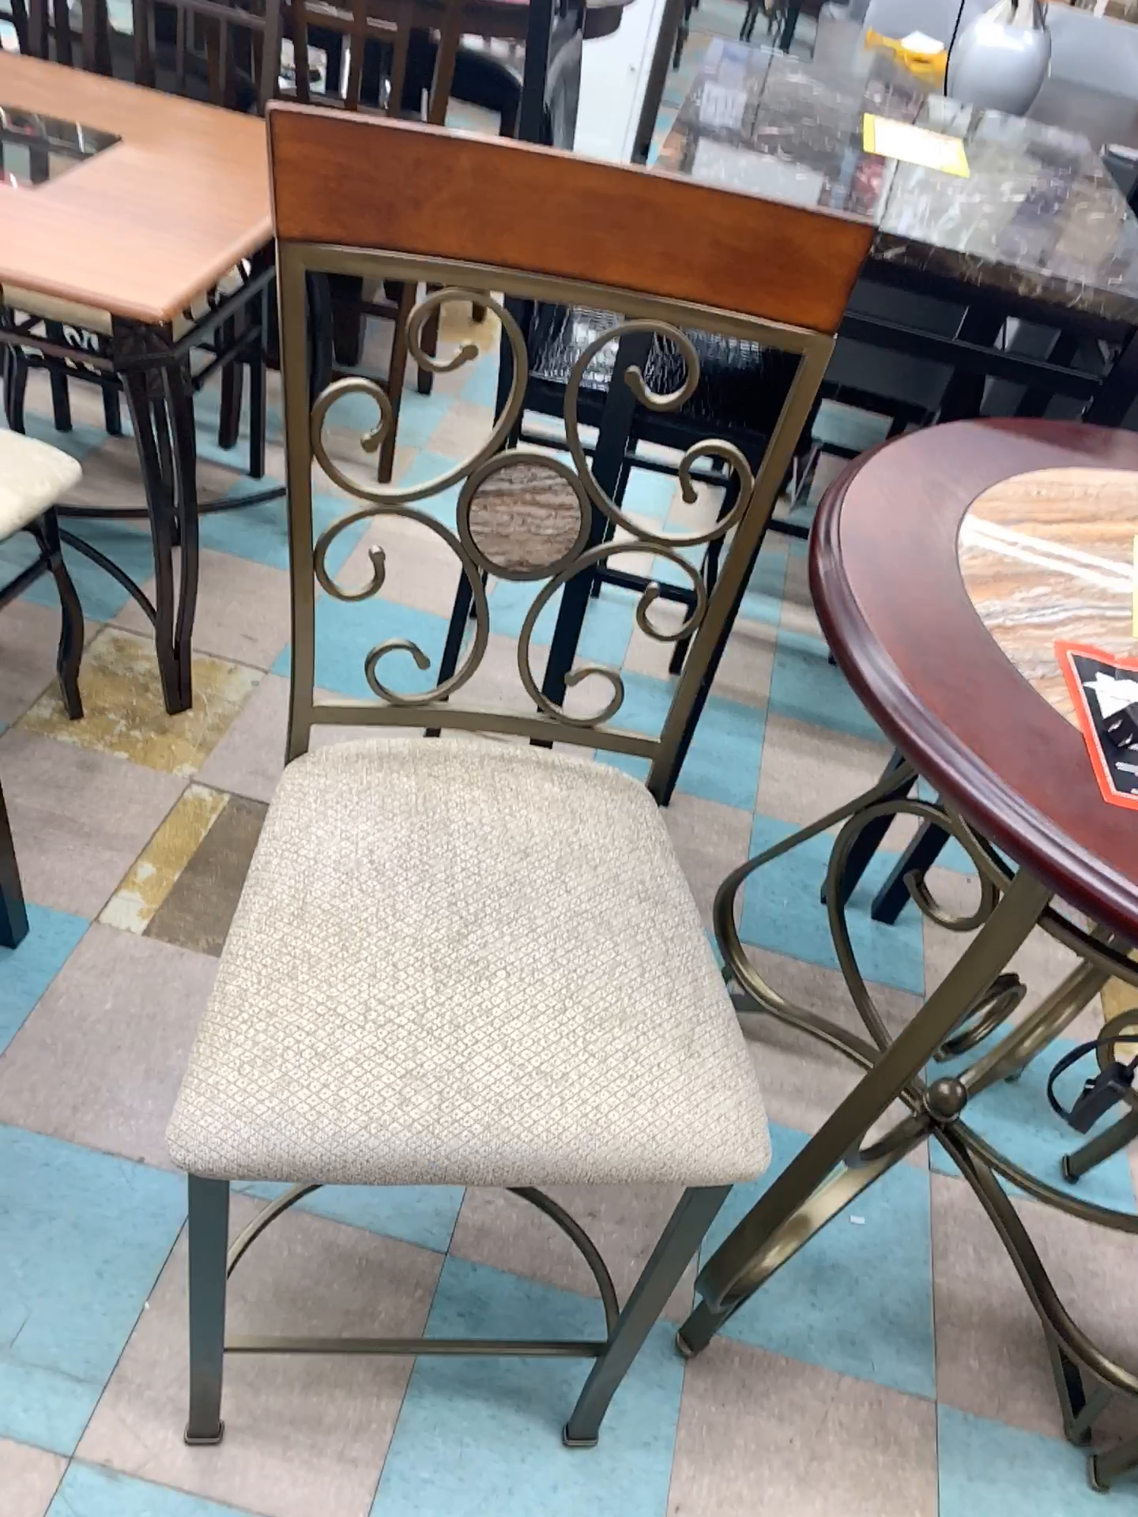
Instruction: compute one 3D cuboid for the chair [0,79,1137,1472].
[{"bbox_3d":[-0.083,0.120,1.018,0.510,1.052,0.611,6,43,-11],"label":"chair"}]
